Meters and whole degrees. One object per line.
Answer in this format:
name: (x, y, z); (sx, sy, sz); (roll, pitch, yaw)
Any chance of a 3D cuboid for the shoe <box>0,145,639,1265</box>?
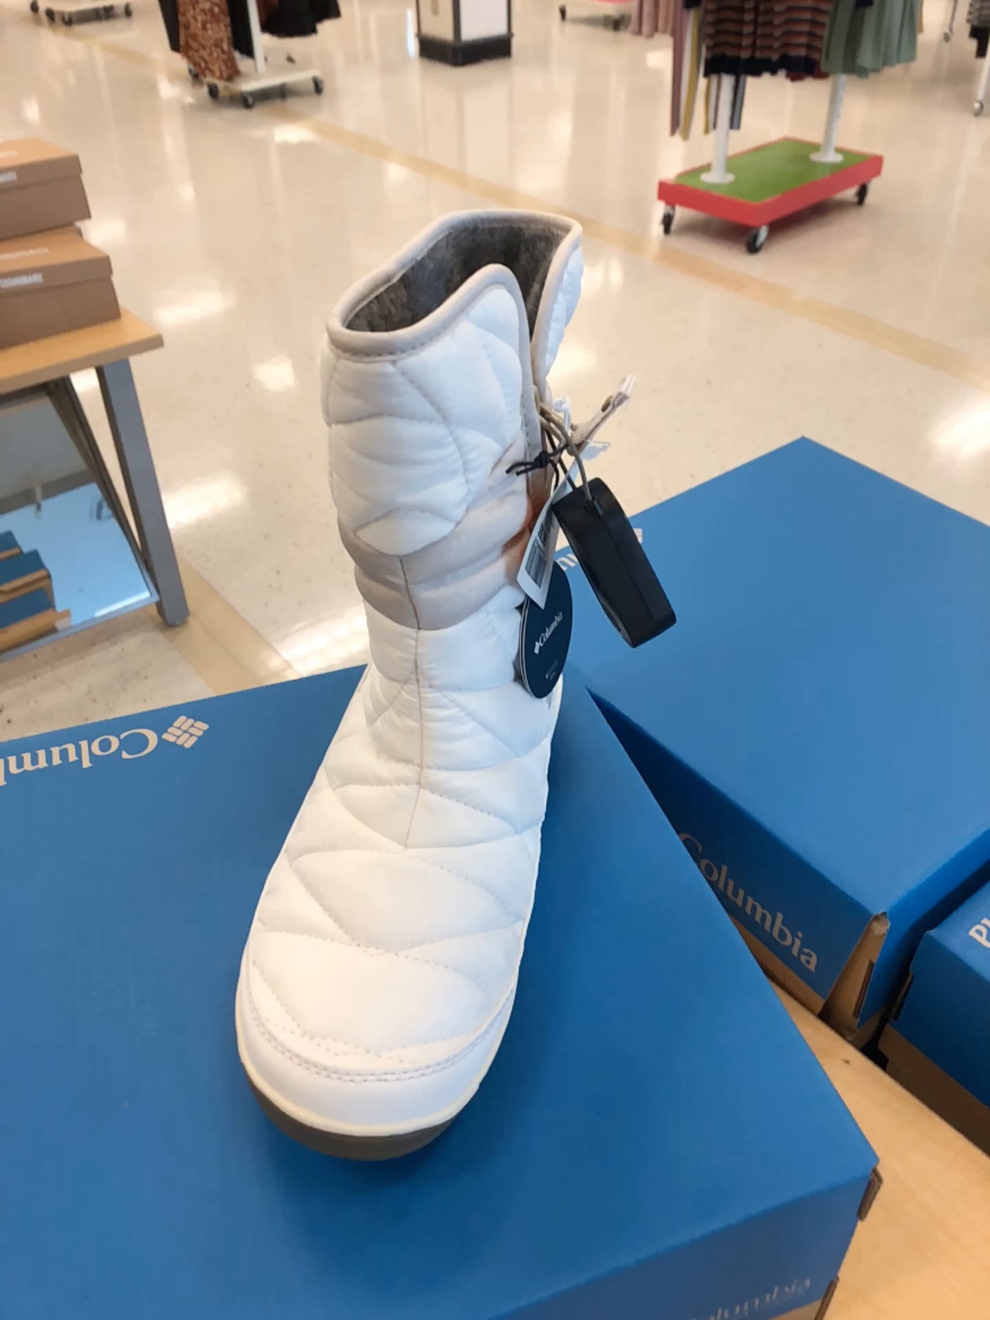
shoe: (-0.026, -0.004, 0.346); (0.104, 0.228, 0.262); (6, 40, 10)
